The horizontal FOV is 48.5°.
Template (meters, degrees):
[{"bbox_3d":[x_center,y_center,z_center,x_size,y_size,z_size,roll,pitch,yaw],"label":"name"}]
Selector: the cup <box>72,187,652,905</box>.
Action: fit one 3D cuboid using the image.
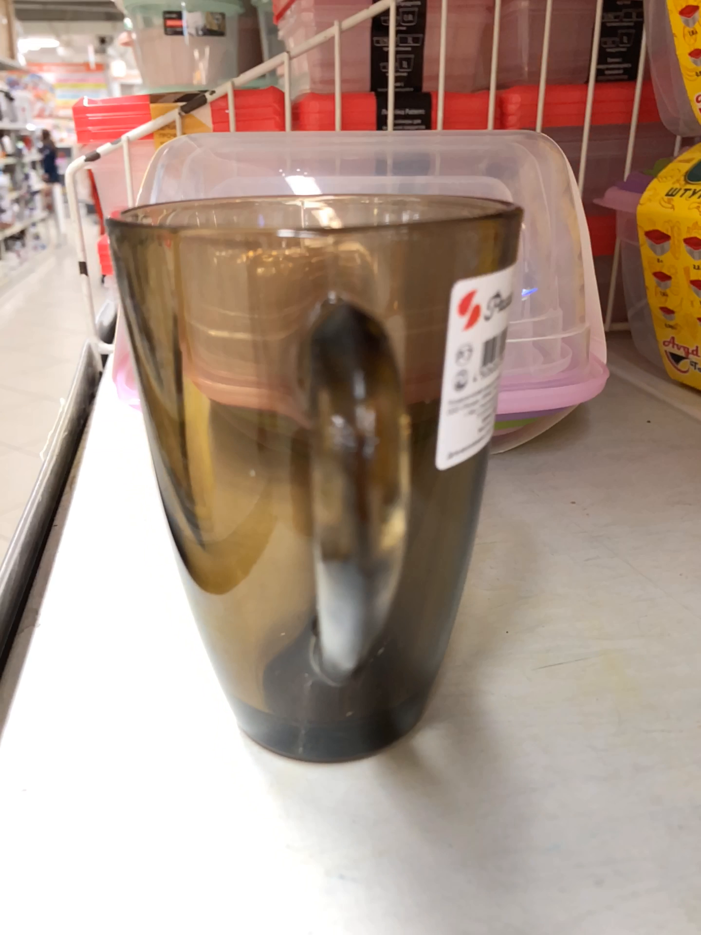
[{"bbox_3d":[-0.010,-0.004,0.160,0.072,0.096,0.112,-10,23,-18],"label":"cup"}]
